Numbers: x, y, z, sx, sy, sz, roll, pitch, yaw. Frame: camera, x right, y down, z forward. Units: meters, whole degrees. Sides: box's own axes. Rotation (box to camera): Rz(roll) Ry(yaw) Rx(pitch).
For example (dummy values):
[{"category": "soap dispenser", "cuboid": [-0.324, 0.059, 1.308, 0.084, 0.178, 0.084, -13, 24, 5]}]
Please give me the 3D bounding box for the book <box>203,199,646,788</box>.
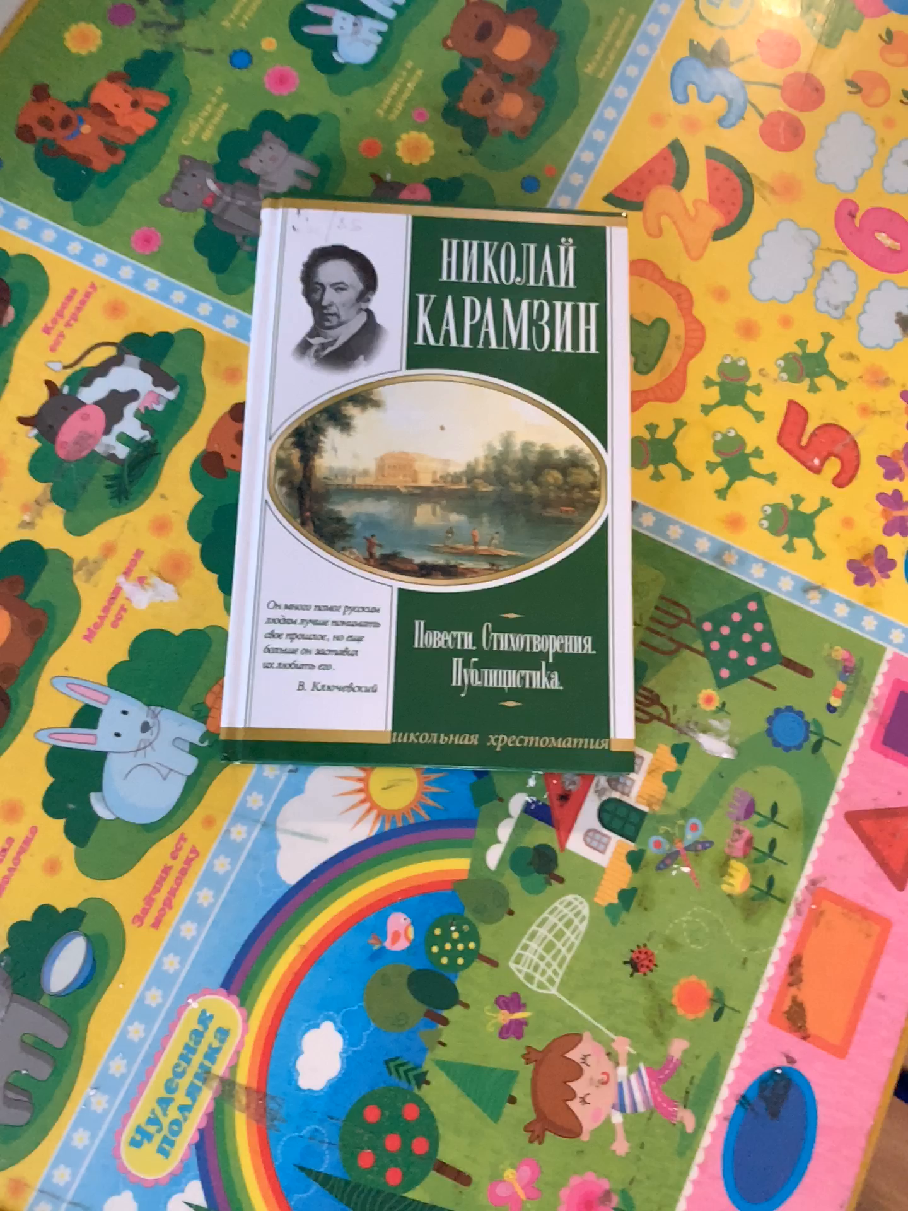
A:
[{"category": "book", "cuboid": [-0.006, -0.041, 0.319, 0.136, 0.020, 0.197, 2, 78, -2]}]
